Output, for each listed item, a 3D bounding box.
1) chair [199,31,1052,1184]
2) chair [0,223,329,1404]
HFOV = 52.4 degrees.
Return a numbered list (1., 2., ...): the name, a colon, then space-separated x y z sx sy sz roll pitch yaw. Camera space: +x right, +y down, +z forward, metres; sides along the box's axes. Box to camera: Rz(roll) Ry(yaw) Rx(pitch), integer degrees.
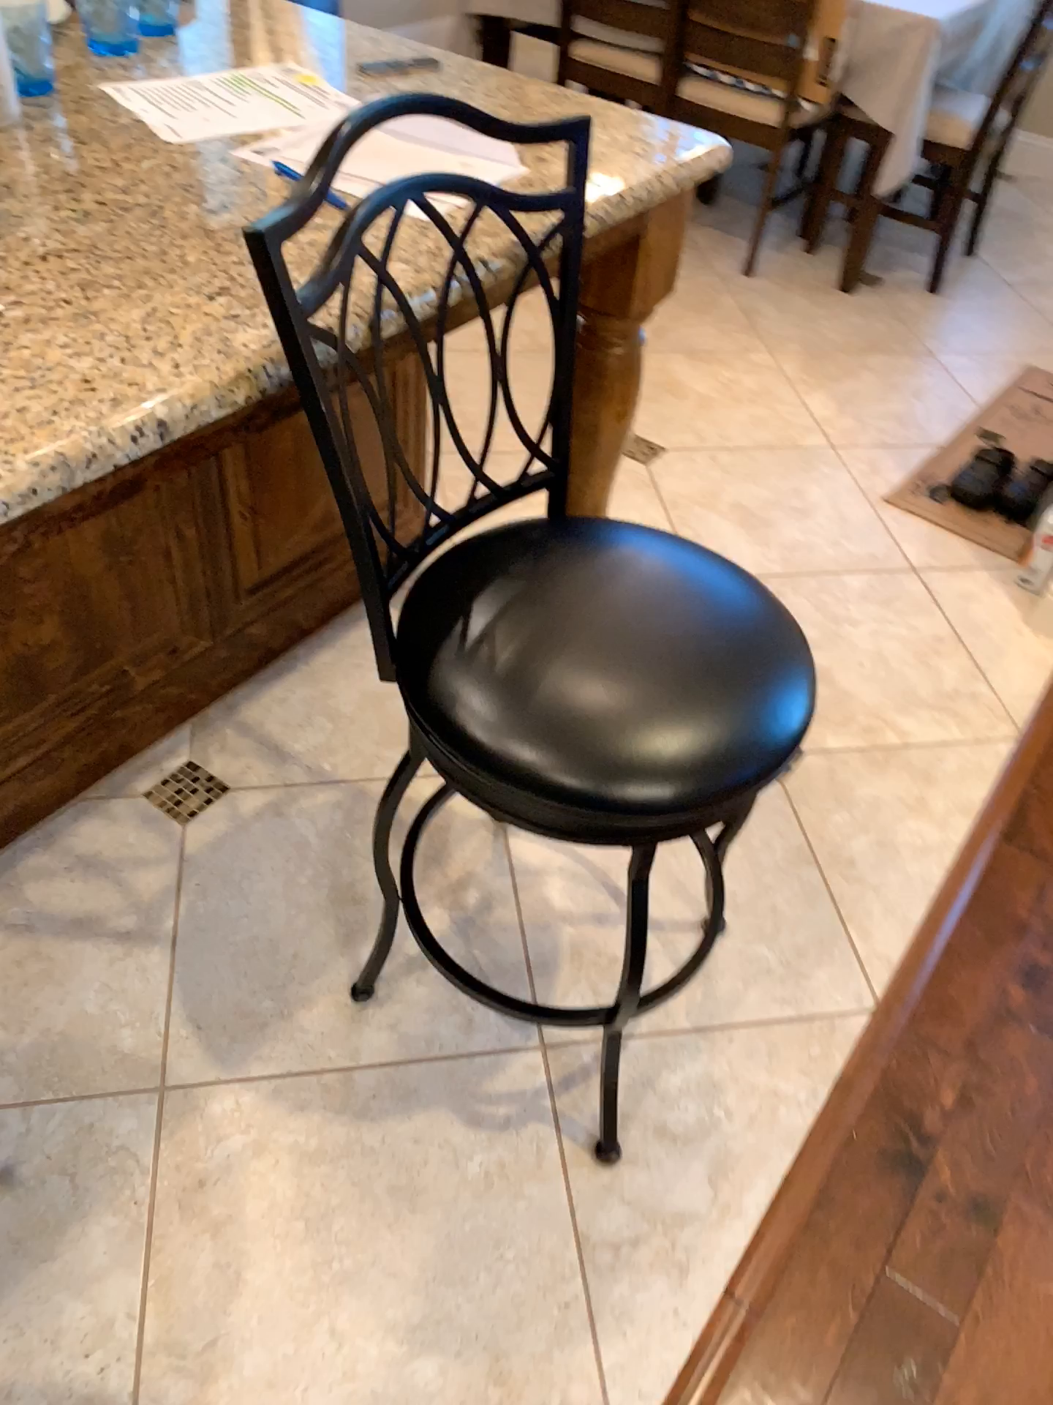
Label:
1. chair: 0.066 -0.027 1.172 0.505 1.068 0.469 27 48 19
2. chair: -0.523 0.501 0.490 0.588 1.098 0.556 32 50 23
